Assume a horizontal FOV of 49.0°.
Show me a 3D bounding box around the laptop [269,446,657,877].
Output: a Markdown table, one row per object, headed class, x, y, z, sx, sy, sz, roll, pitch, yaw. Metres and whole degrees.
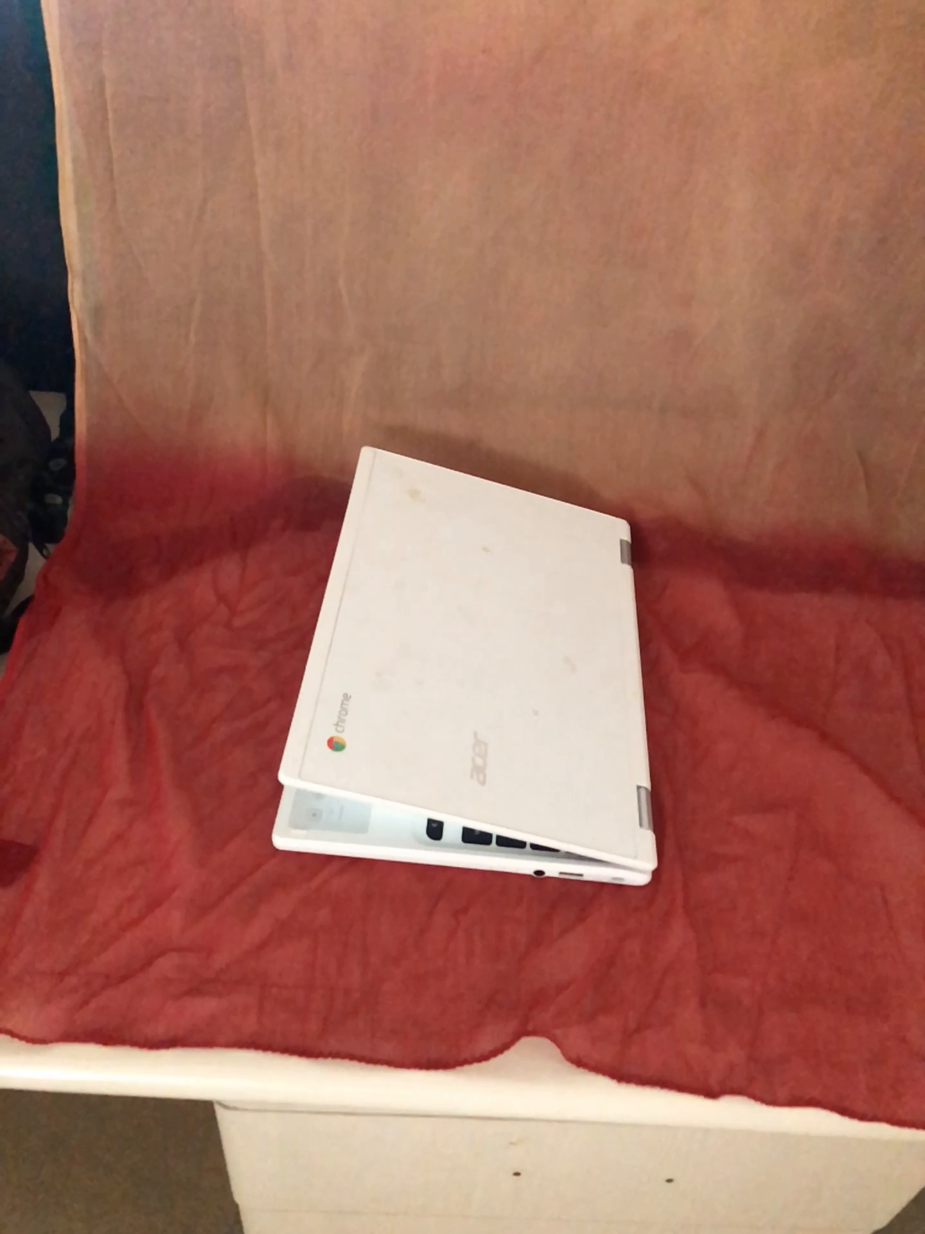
| class | x | y | z | sx | sy | sz | roll | pitch | yaw |
| --- | --- | --- | --- | --- | --- | --- | --- | --- | --- |
| laptop | 0.012 | 0.007 | 0.618 | 0.189 | 0.055 | 0.289 | 6 | 42 | 2 |
